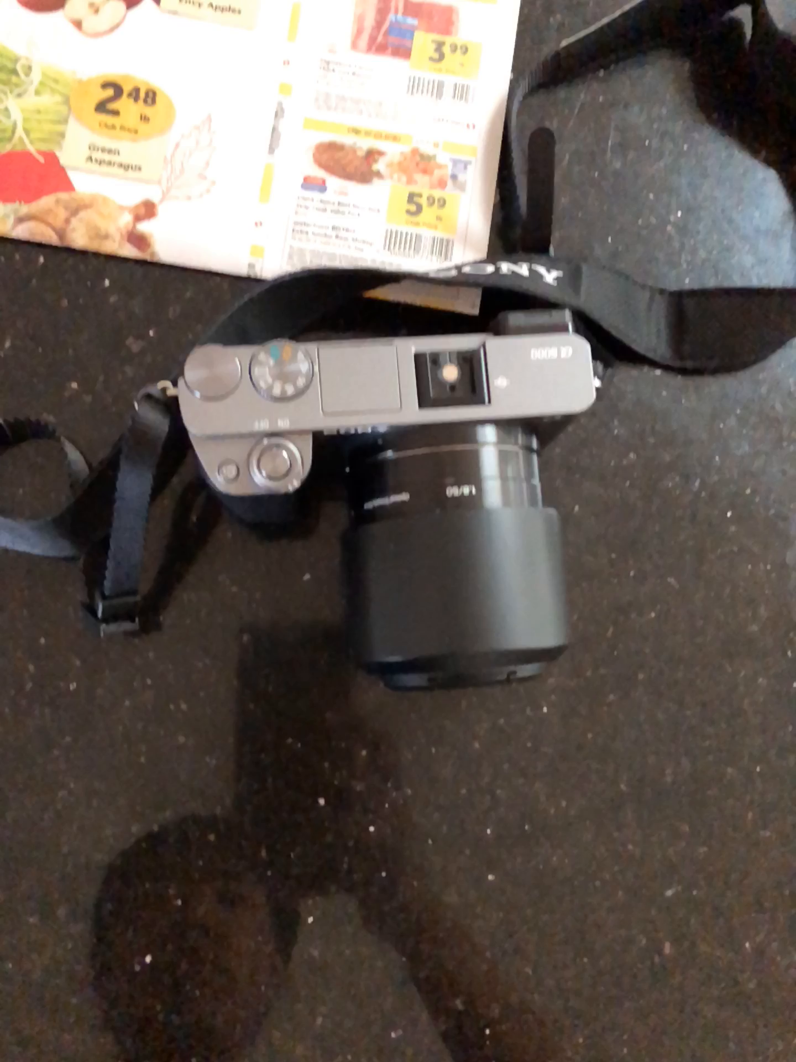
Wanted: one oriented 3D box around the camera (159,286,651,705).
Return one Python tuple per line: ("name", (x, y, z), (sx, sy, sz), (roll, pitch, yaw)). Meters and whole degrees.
("camera", (-0.001, -0.009, 0.283), (0.130, 0.070, 0.110), (-4, 83, -5))
